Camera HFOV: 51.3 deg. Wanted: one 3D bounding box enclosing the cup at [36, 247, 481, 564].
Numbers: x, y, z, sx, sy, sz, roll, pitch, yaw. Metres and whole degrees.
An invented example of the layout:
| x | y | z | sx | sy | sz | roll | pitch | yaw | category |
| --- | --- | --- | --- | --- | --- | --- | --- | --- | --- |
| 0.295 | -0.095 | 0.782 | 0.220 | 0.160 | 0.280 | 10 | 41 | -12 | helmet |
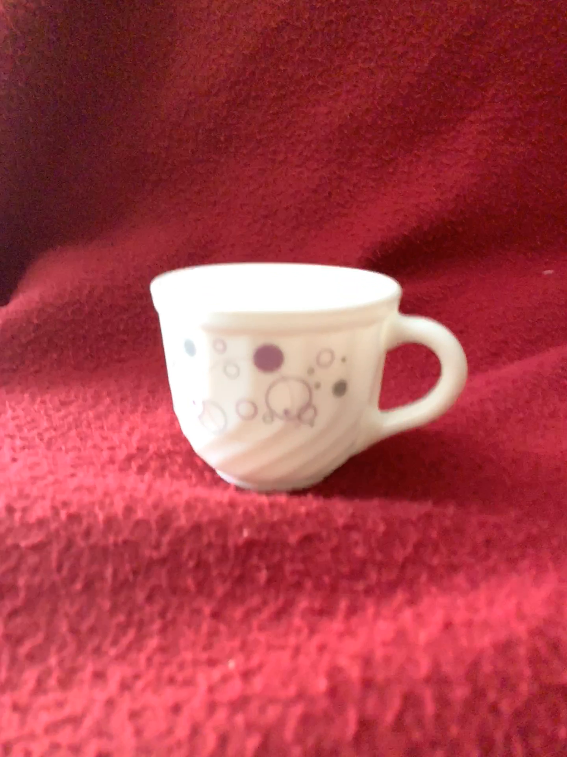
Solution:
| x | y | z | sx | sy | sz | roll | pitch | yaw | category |
| --- | --- | --- | --- | --- | --- | --- | --- | --- | --- |
| -0.001 | -0.004 | 0.175 | 0.100 | 0.050 | 0.080 | 9 | 24 | 21 | cup |
